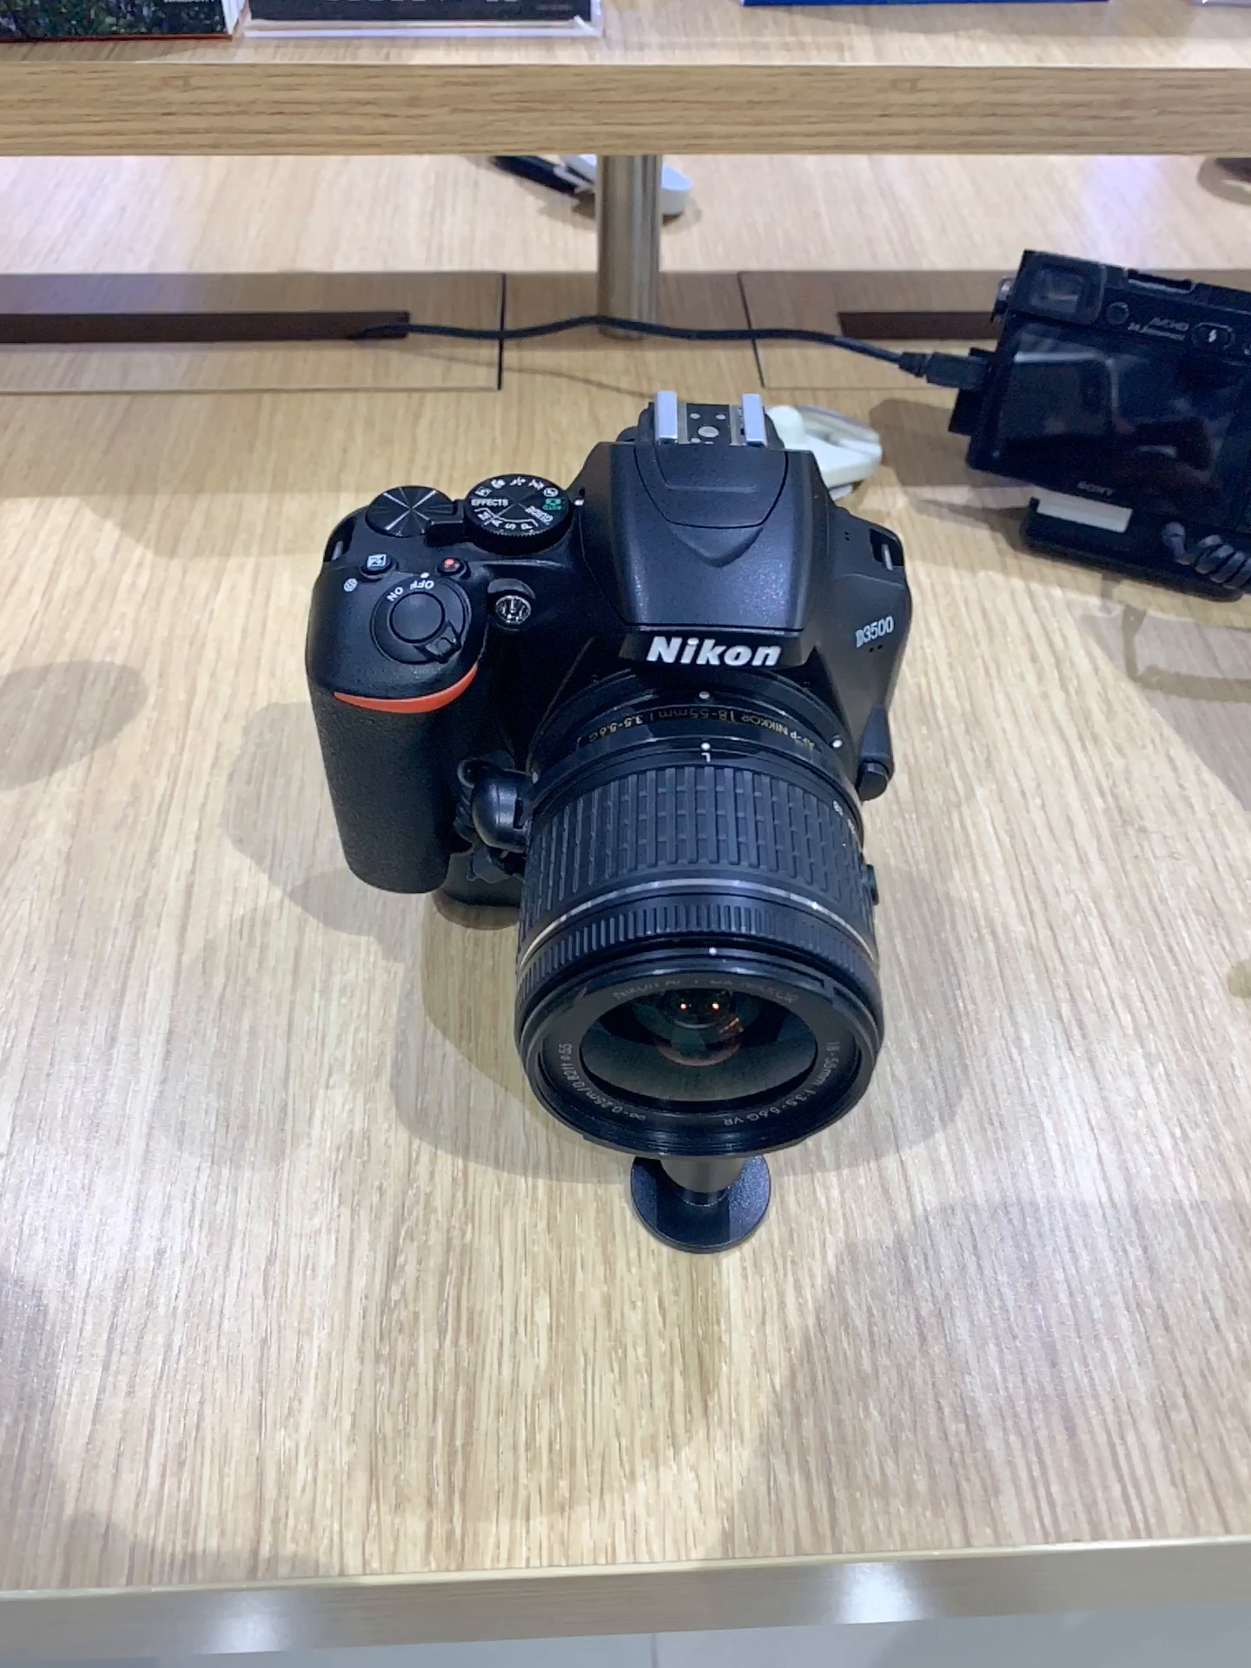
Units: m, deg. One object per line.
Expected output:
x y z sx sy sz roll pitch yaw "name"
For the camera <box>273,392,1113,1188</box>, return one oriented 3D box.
0.007 -0.008 0.226 0.102 0.091 0.104 0 48 -2 "camera"
